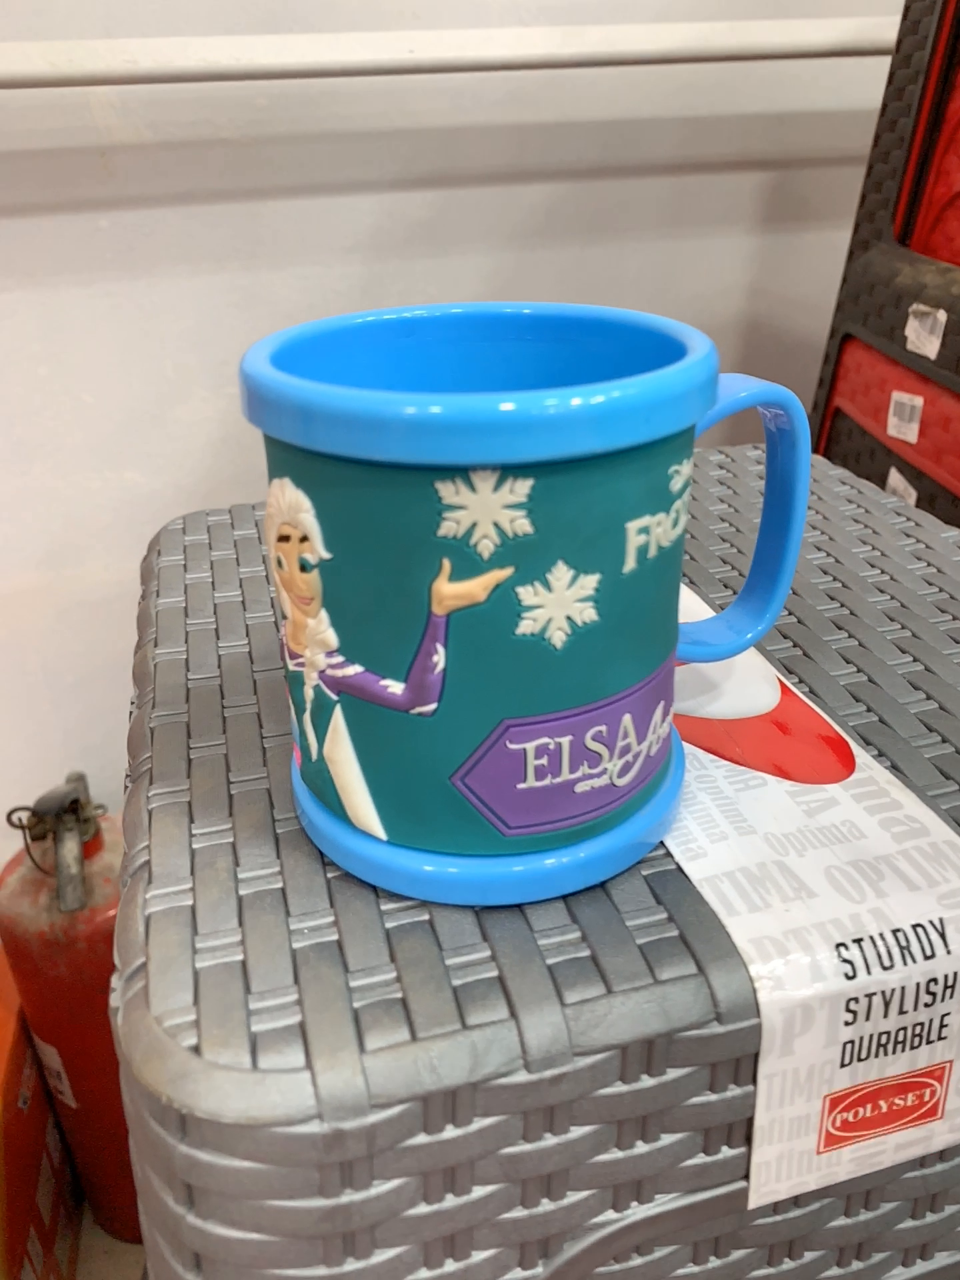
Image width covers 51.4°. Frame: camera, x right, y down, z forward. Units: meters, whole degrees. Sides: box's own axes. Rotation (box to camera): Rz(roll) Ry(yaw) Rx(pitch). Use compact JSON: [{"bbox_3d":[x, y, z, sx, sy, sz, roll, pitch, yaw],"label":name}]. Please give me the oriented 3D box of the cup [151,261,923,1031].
[{"bbox_3d":[0.011,-0.011,0.193,0.107,0.099,0.078,-21,33,-31],"label":"cup"}]
